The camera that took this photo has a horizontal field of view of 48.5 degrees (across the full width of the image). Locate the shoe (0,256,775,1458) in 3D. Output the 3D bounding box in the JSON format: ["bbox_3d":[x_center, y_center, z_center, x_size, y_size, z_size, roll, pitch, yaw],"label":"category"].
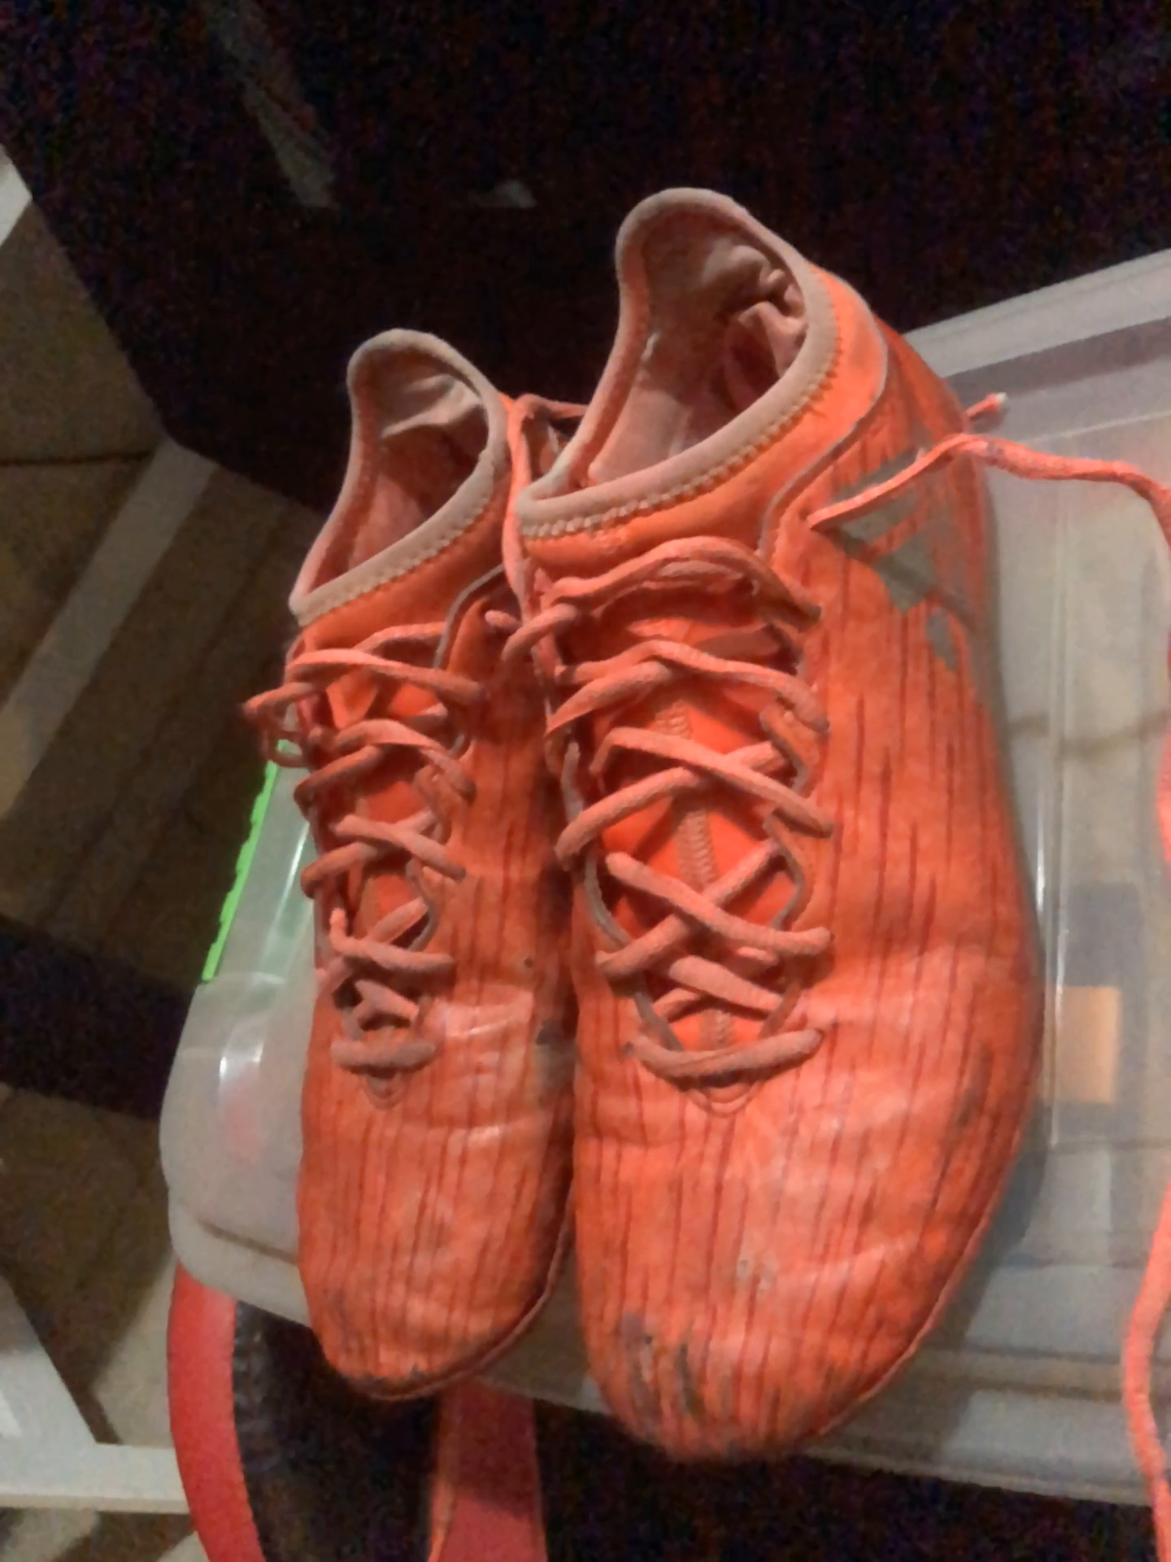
[{"bbox_3d":[-0.031,0.021,0.317,0.090,0.129,0.240,-14,57,36],"label":"shoe"}]

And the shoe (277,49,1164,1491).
[{"bbox_3d":[0.041,0.001,0.267,0.090,0.129,0.240,-14,57,36],"label":"shoe"}]
